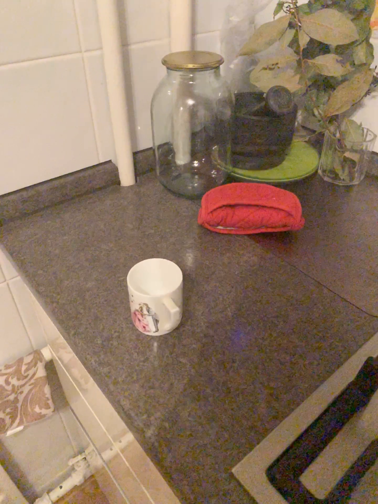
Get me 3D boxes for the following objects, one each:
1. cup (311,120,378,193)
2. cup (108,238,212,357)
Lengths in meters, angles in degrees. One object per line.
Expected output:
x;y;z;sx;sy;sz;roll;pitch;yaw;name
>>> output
0.263;-0.163;0.657;0.079;0.091;0.055;23;43;27;cup
-0.030;0.043;0.399;0.064;0.061;0.090;-25;44;-28;cup
